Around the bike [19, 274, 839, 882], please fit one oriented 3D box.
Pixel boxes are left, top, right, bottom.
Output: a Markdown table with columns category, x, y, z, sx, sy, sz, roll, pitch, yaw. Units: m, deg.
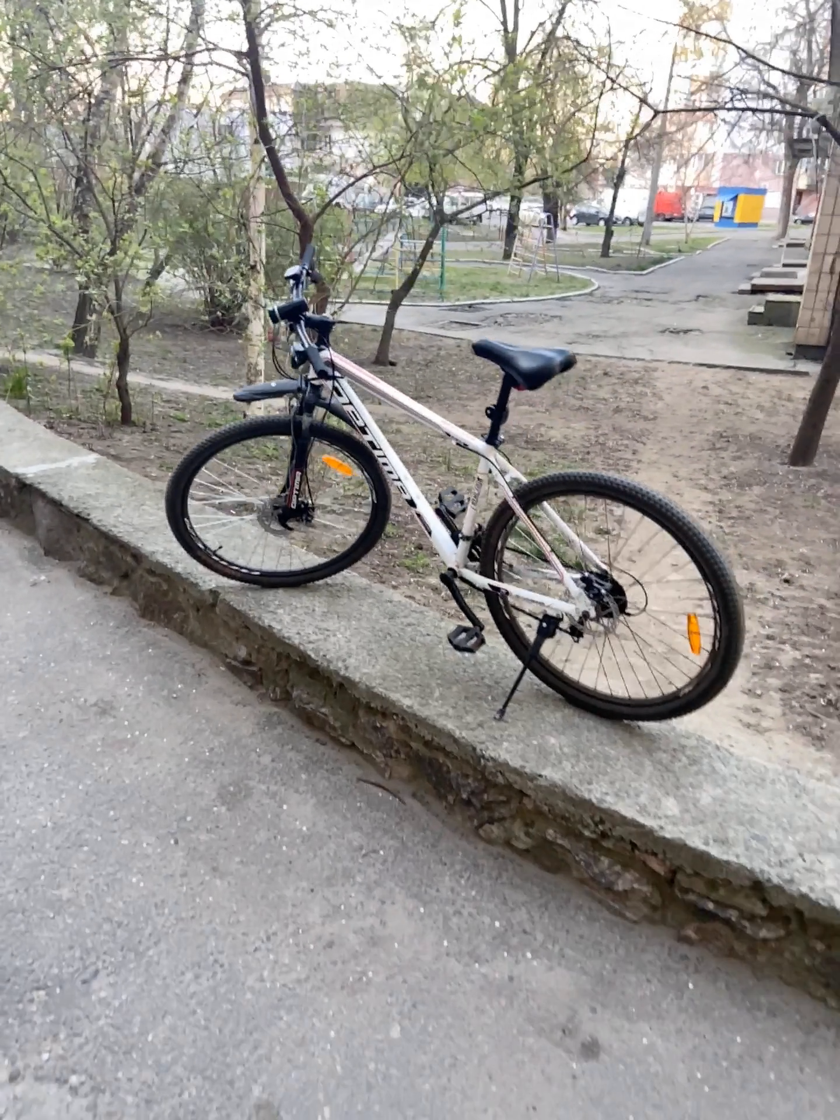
| category | x | y | z | sx | sy | sz | roll | pitch | yaw |
| --- | --- | --- | --- | --- | --- | --- | --- | --- | --- |
| bike | -0.055 | -0.106 | 2.214 | 1.751 | 1.145 | 0.681 | 12 | 25 | 26 |
